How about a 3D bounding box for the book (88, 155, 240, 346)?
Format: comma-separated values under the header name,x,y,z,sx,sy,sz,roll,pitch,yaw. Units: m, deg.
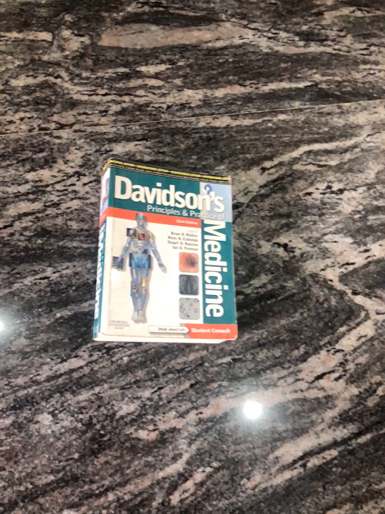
name,x,y,z,sx,sy,sz,roll,pitch,yaw
book,-0.043,-0.004,0.637,0.200,0.070,0.260,5,71,-19
